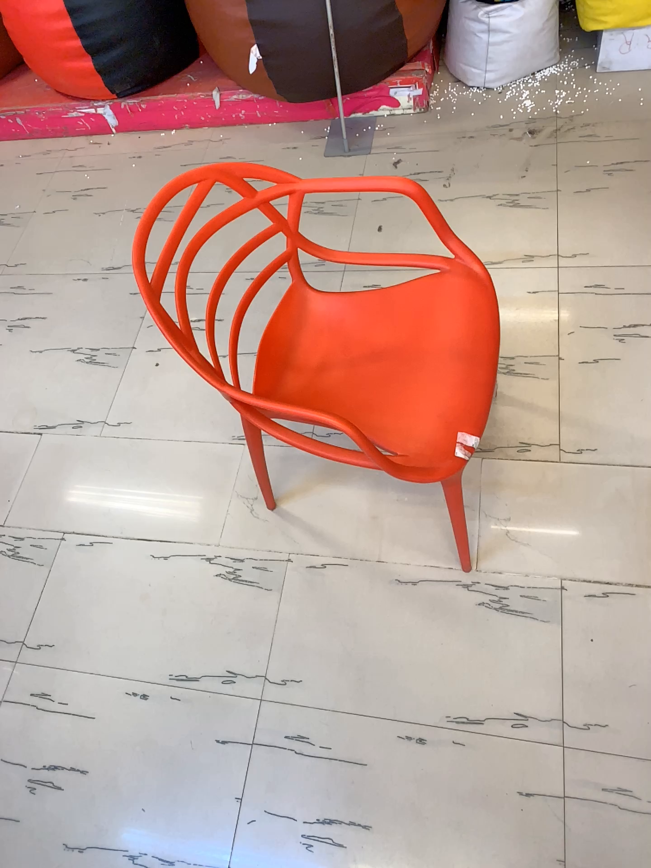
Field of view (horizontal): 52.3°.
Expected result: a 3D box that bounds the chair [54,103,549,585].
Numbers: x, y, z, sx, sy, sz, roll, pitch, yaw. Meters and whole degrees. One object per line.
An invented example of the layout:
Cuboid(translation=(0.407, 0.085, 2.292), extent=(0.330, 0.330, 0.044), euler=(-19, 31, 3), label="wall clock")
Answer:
Cuboid(translation=(0.044, -0.136, 1.251), extent=(0.631, 0.656, 0.553), euler=(6, 61, 16), label="chair")
